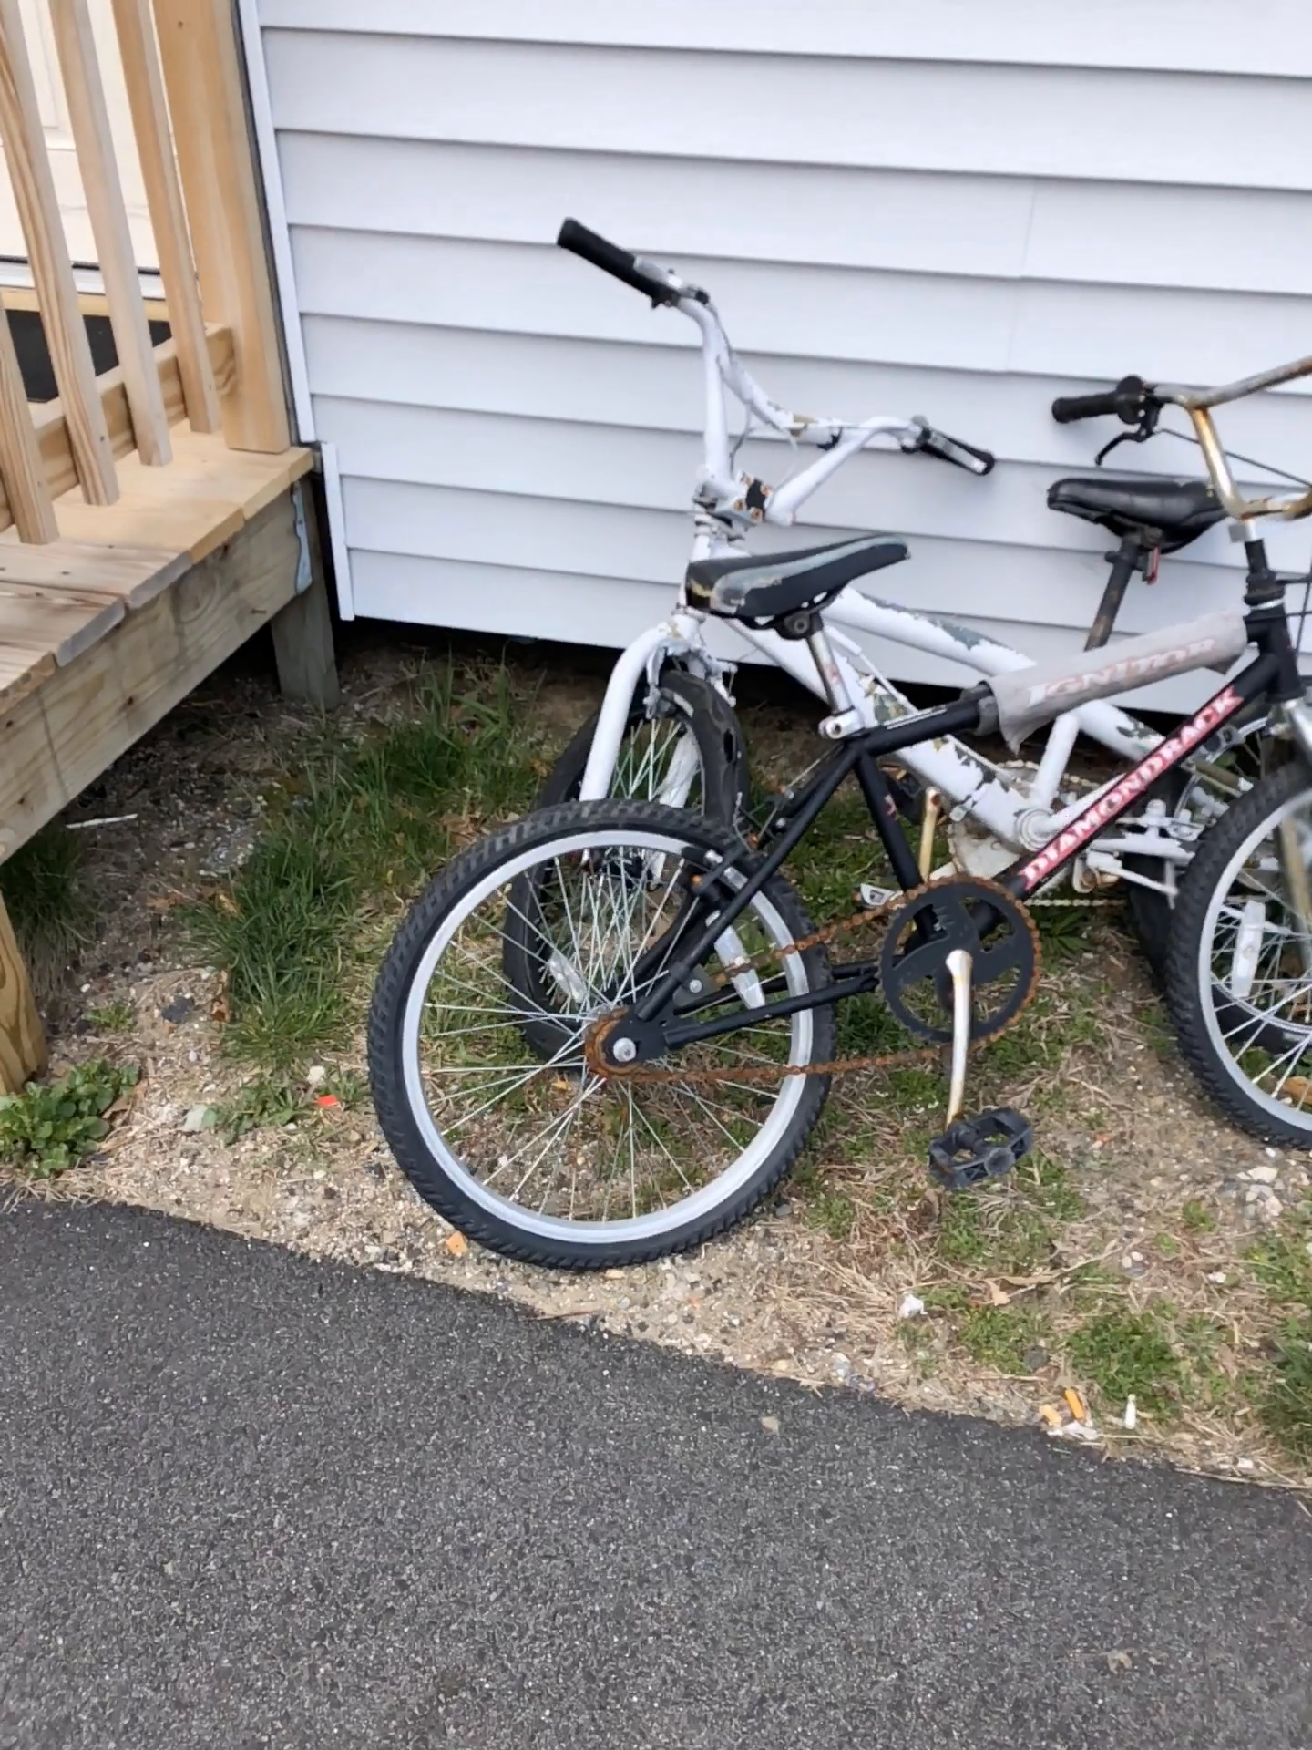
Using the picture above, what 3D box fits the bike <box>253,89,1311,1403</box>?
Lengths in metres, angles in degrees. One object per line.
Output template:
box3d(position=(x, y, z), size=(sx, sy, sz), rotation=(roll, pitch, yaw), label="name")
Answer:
box3d(position=(0.325, -0.207, 1.496), size=(1.296, 0.932, 0.761), rotation=(-9, 37, -12), label="bike")
